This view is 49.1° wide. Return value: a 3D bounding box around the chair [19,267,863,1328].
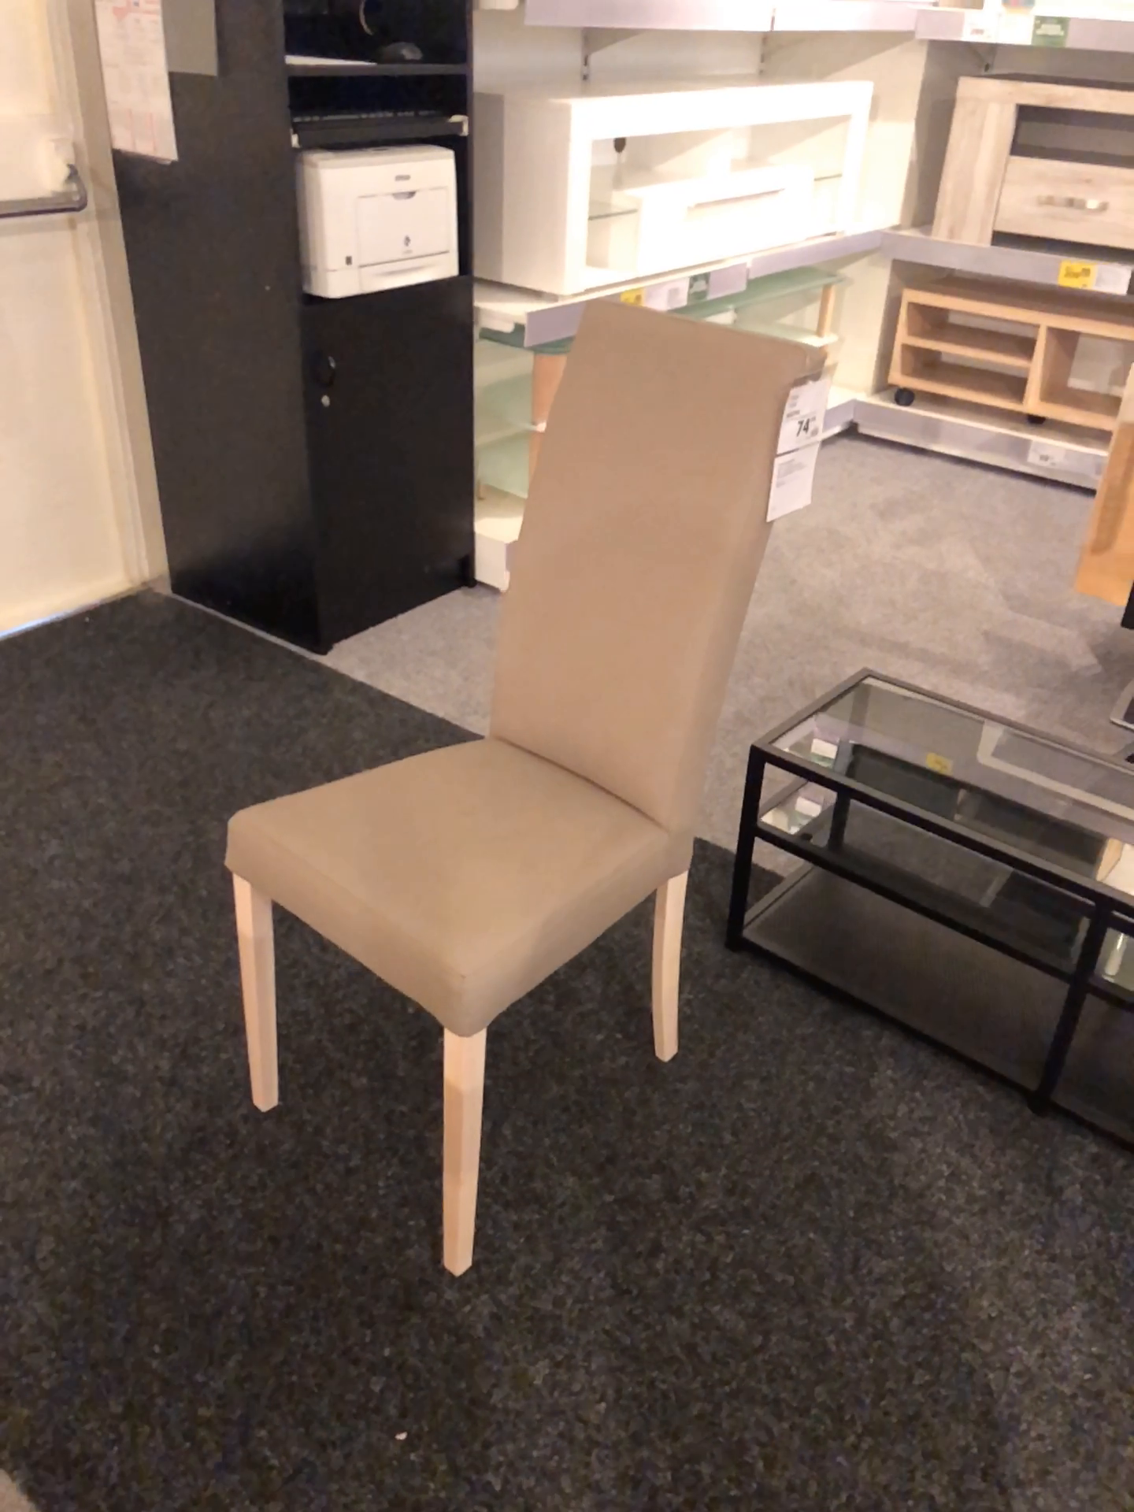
[{"bbox_3d":[-0.125,-0.003,1.455,0.530,0.944,0.634,27,38,34],"label":"chair"}]
